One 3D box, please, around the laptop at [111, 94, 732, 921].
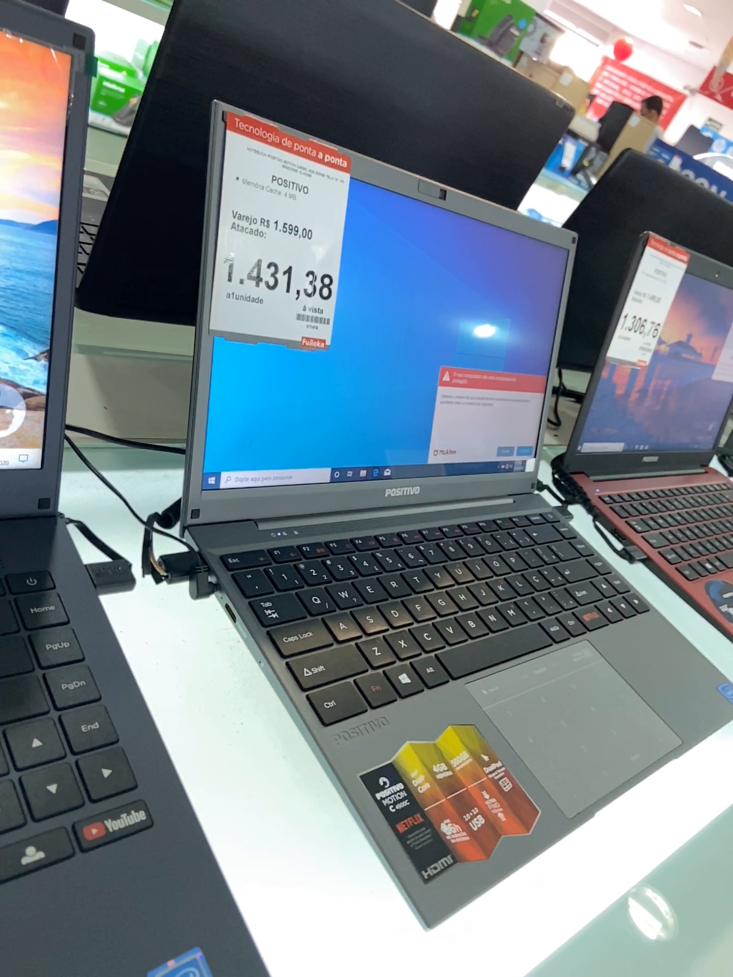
[{"bbox_3d":[0.091,-0.019,0.437,0.331,0.183,0.319,-2,43,-45],"label":"laptop"}]
